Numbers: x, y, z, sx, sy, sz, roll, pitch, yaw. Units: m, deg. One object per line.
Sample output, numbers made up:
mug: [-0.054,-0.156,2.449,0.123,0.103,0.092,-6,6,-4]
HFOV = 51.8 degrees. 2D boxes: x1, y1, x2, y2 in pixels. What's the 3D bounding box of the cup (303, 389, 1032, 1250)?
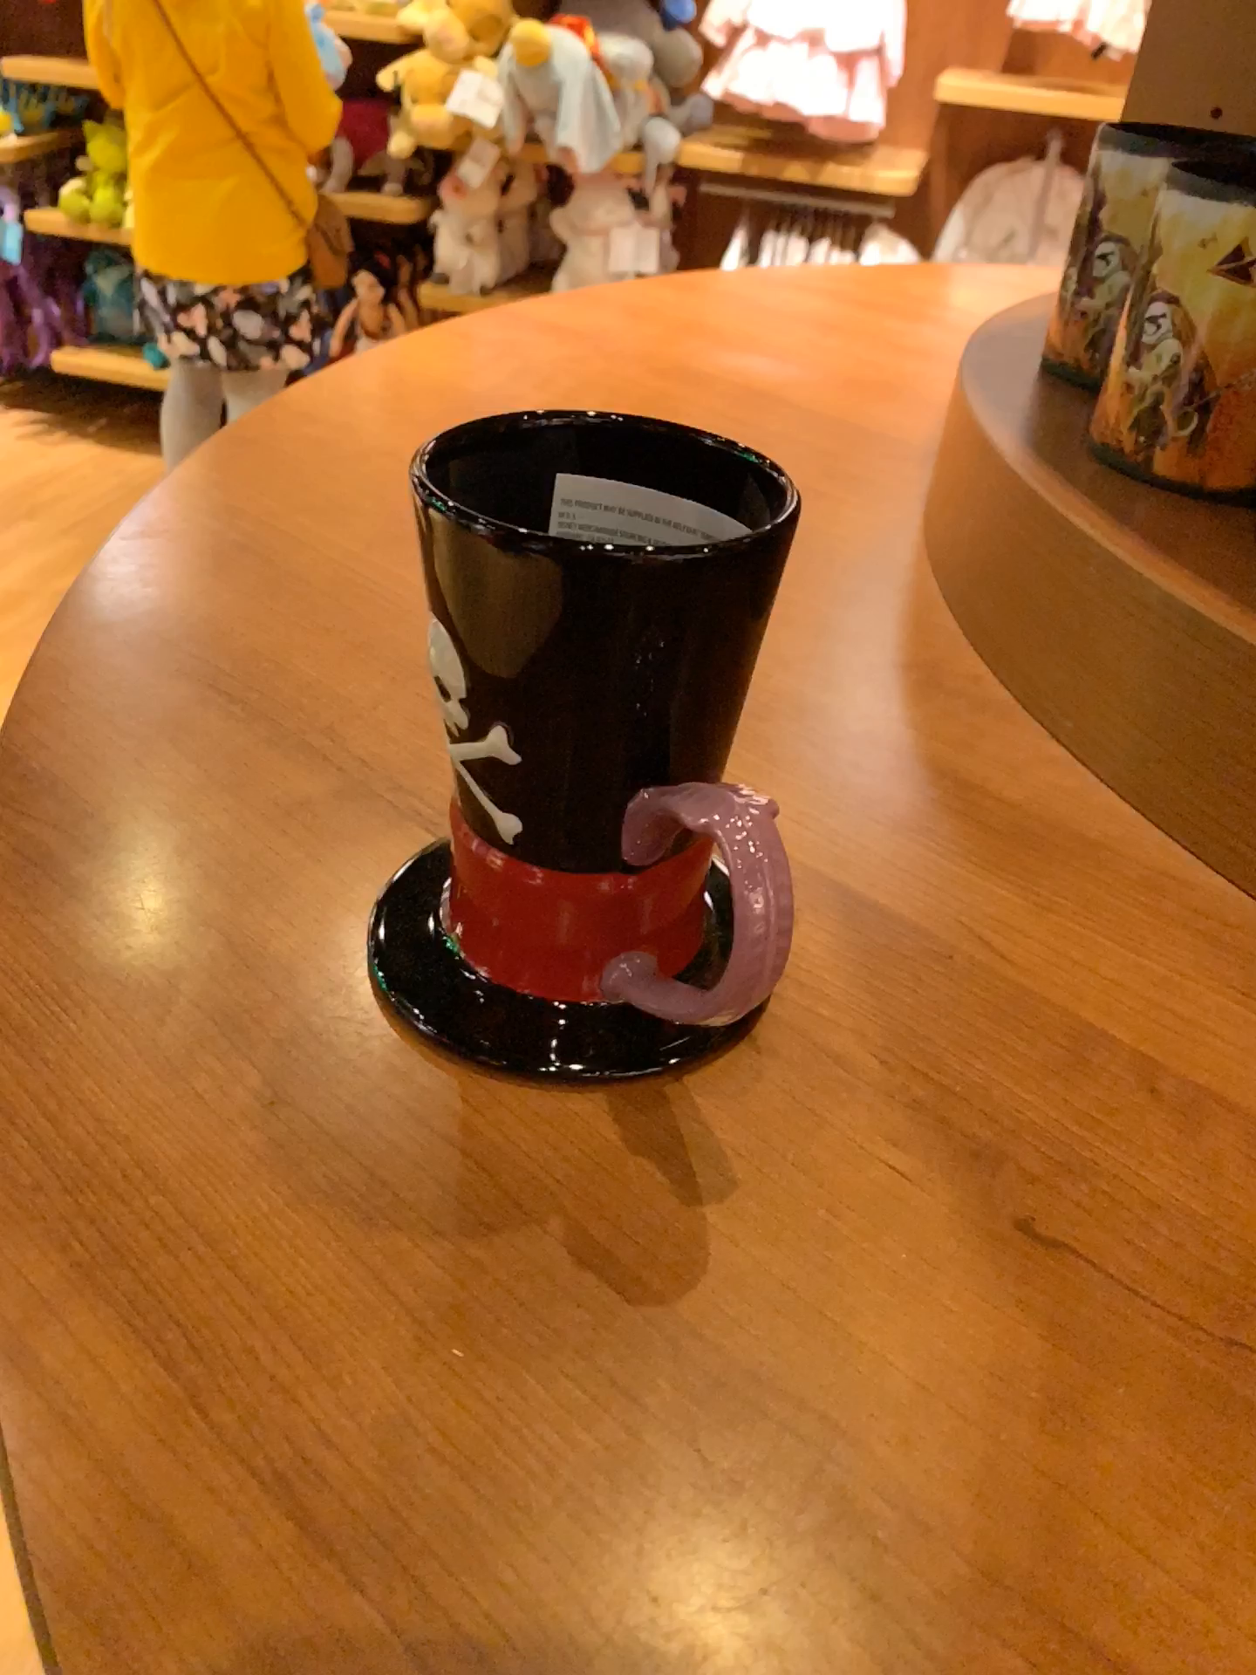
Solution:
cup: [-0.005,-0.014,0.317,0.110,0.144,0.135,-11,38,-22]
